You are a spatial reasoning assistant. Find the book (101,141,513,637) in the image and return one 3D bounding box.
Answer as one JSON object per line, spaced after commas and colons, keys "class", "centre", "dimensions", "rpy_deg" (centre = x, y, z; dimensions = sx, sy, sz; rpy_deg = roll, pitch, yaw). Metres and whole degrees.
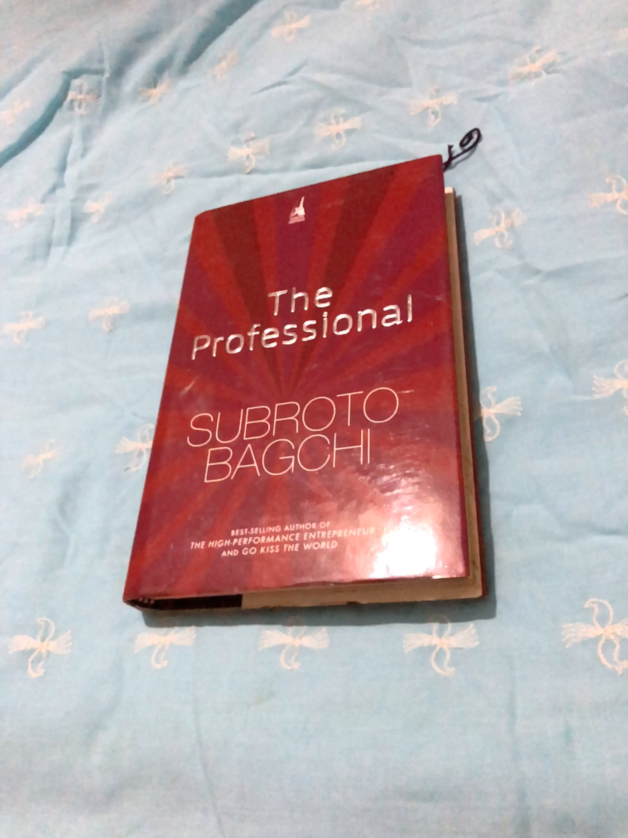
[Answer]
{"class": "book", "centre": [0.001, -0.020, 0.312], "dimensions": [0.150, 0.030, 0.220], "rpy_deg": [-6, 59, 18]}
